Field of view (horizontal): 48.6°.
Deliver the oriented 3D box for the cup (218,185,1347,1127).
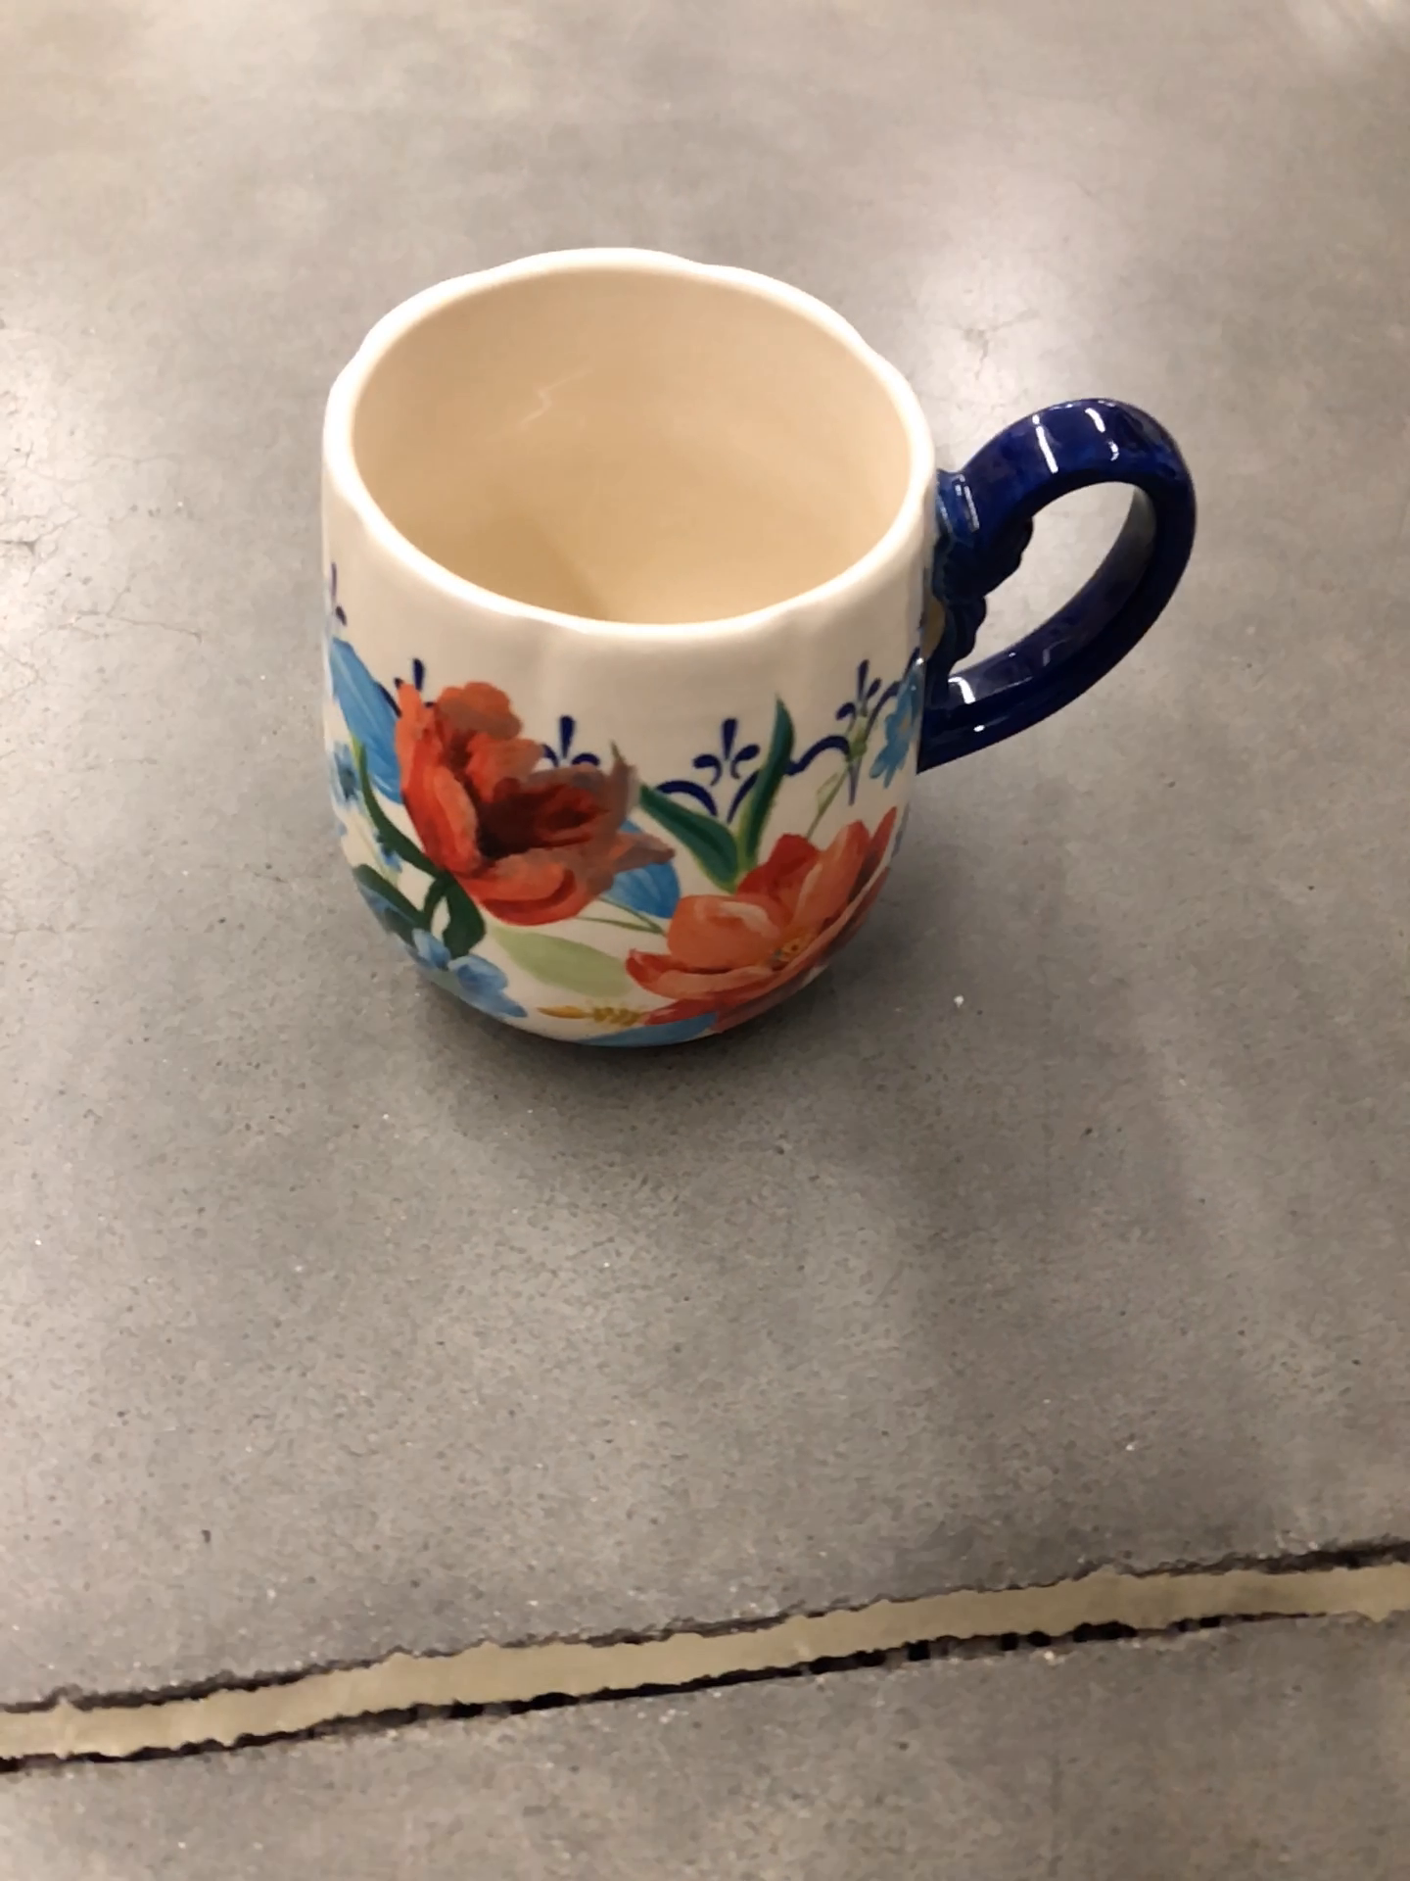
[{"bbox_3d":[0.002,-0.046,0.260,0.140,0.100,0.100,-8,57,-9],"label":"cup"}]
